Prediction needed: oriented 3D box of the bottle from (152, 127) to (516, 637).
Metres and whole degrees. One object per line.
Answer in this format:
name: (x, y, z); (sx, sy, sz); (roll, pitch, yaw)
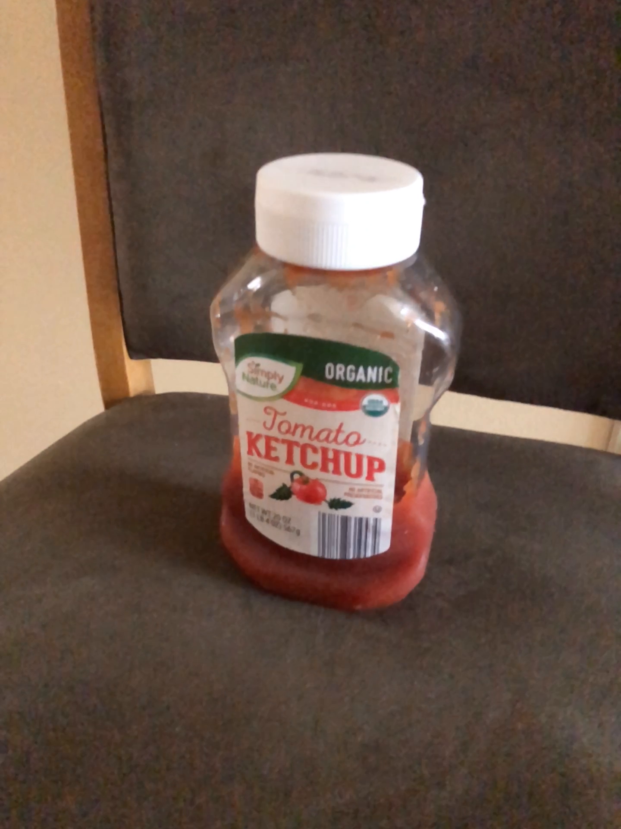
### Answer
bottle: (0.010, -0.009, 0.259); (0.100, 0.170, 0.060); (11, 34, 15)
